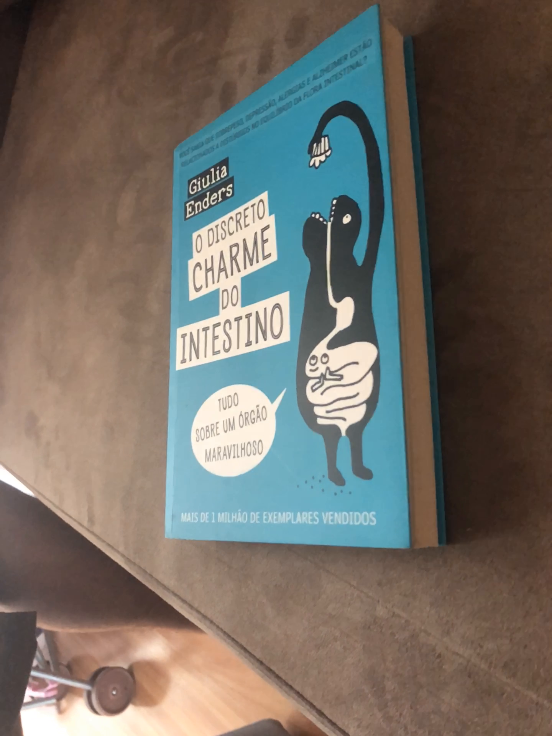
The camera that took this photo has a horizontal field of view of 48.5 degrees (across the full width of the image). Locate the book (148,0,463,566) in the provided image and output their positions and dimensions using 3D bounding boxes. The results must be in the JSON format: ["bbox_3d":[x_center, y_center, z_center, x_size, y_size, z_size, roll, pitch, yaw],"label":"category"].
[{"bbox_3d":[0.002,-0.034,0.268,0.141,0.030,0.220,-13,72,43],"label":"book"}]
